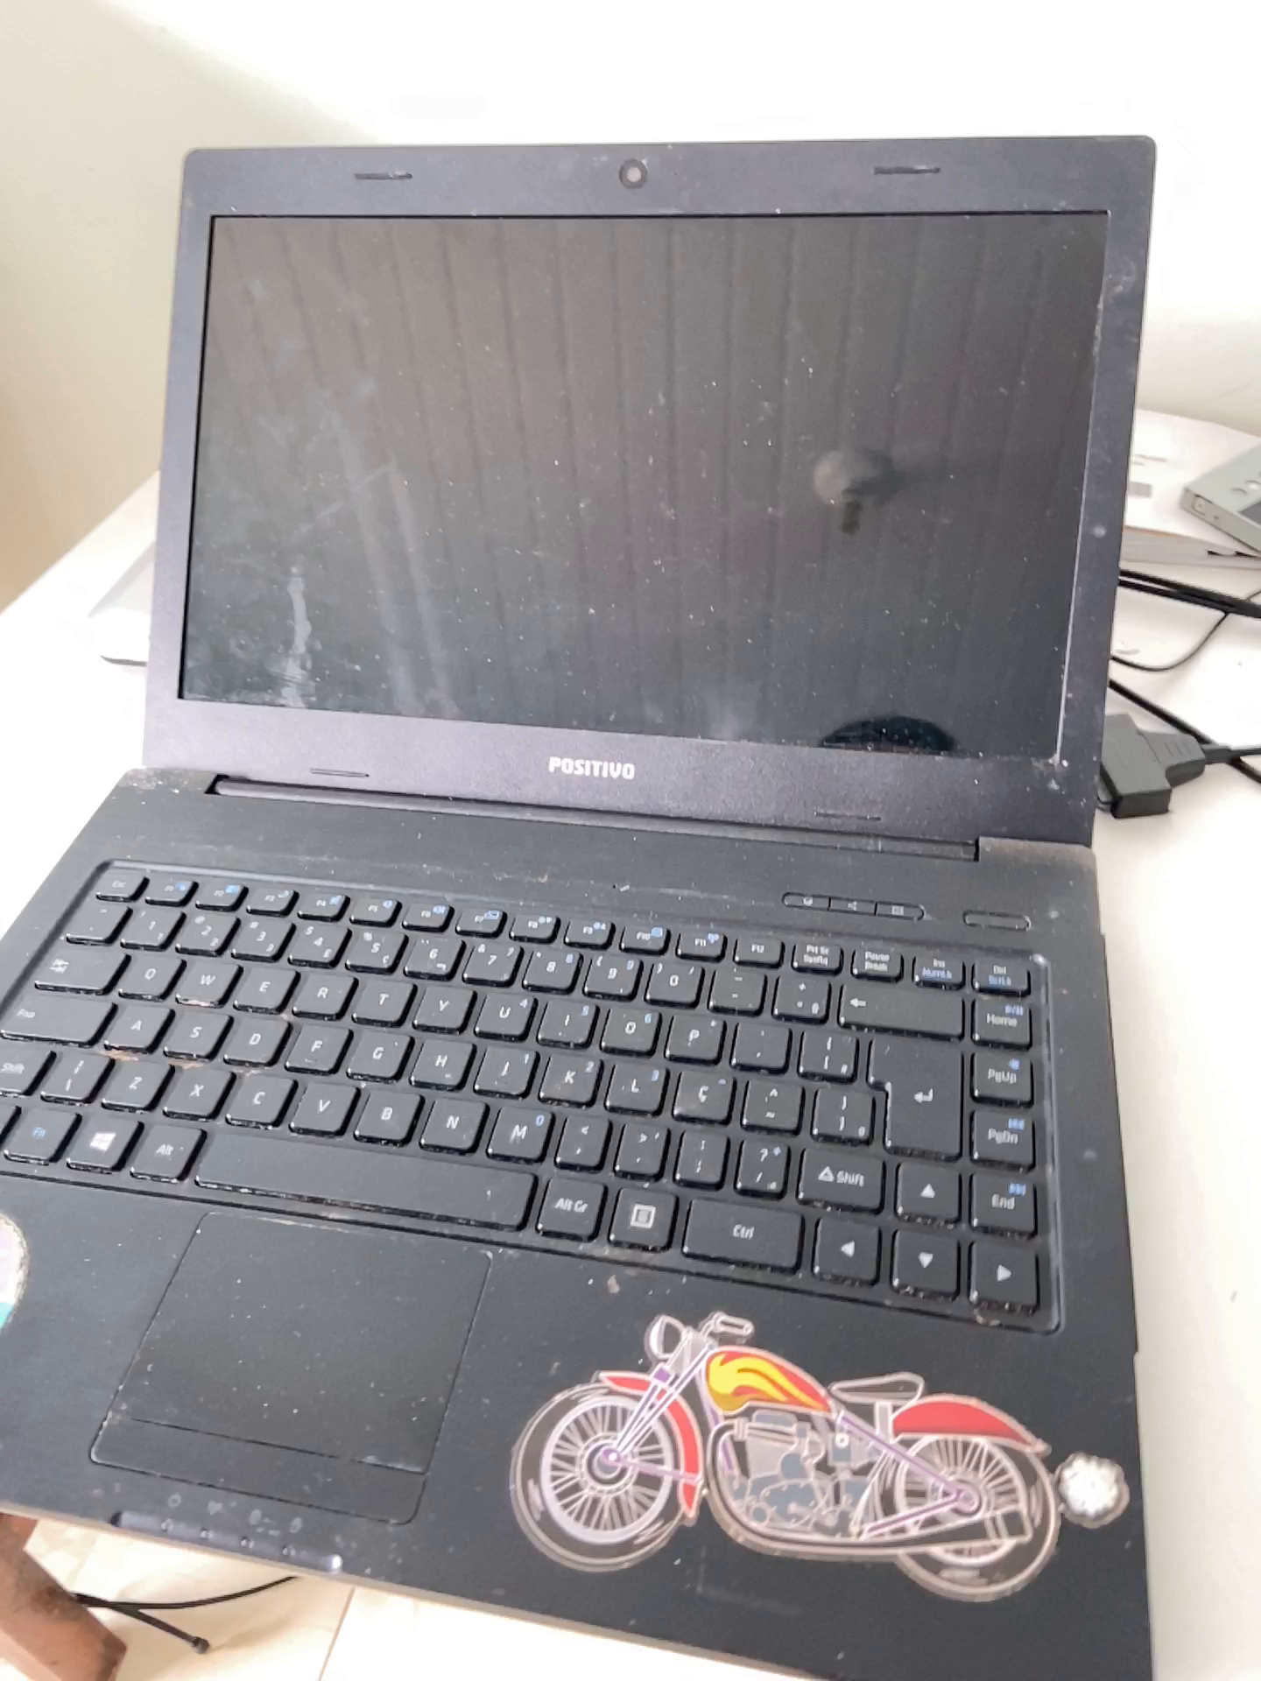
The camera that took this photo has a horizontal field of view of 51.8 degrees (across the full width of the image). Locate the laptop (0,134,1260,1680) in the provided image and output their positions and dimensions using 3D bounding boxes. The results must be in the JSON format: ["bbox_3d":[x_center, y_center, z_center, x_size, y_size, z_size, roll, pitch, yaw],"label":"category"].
[{"bbox_3d":[-0.034,-0.044,0.358,0.334,0.162,0.395,5,44,12],"label":"laptop"}]
